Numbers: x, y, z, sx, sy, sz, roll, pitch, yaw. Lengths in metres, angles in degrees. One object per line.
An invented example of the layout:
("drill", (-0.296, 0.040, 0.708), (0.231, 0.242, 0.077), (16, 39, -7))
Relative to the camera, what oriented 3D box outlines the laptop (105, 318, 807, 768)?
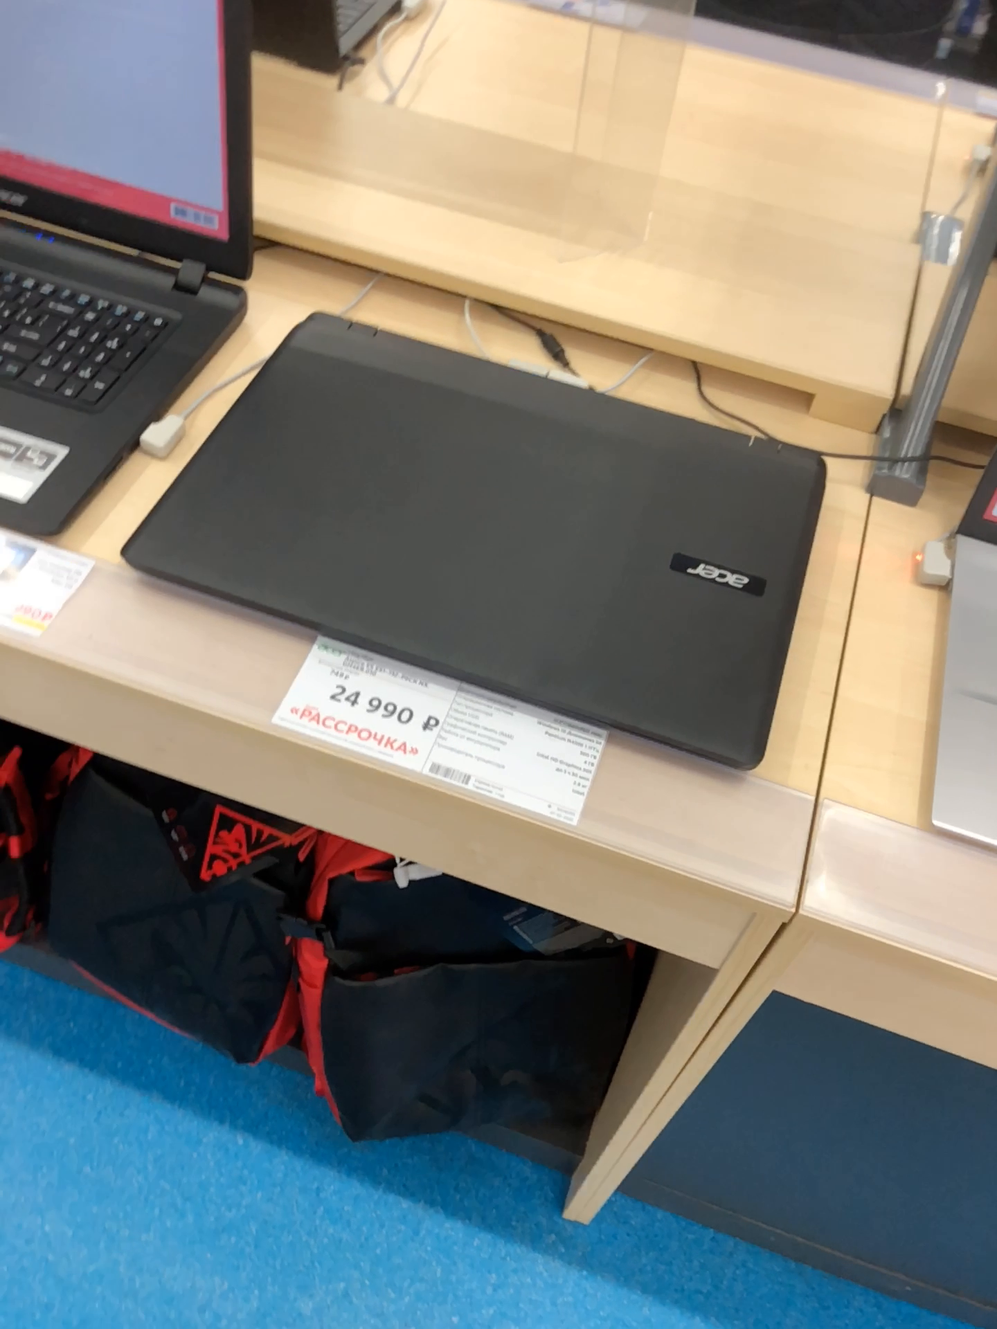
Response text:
("laptop", (-0.010, -0.104, 0.751), (0.410, 0.005, 0.279), (17, 54, 6))
